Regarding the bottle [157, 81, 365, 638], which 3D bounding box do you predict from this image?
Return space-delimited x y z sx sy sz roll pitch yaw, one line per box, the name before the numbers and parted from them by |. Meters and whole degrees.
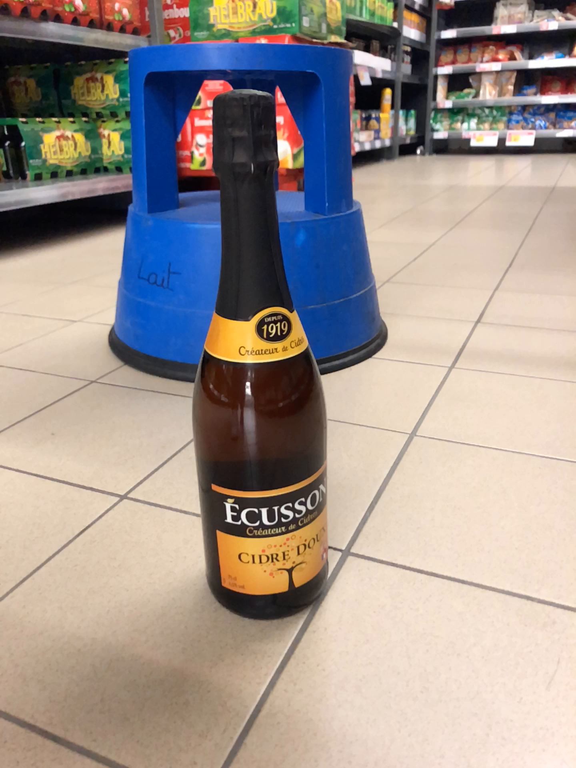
bottle | -0.015 -0.009 0.371 0.090 0.299 0.090 -1 22 1
